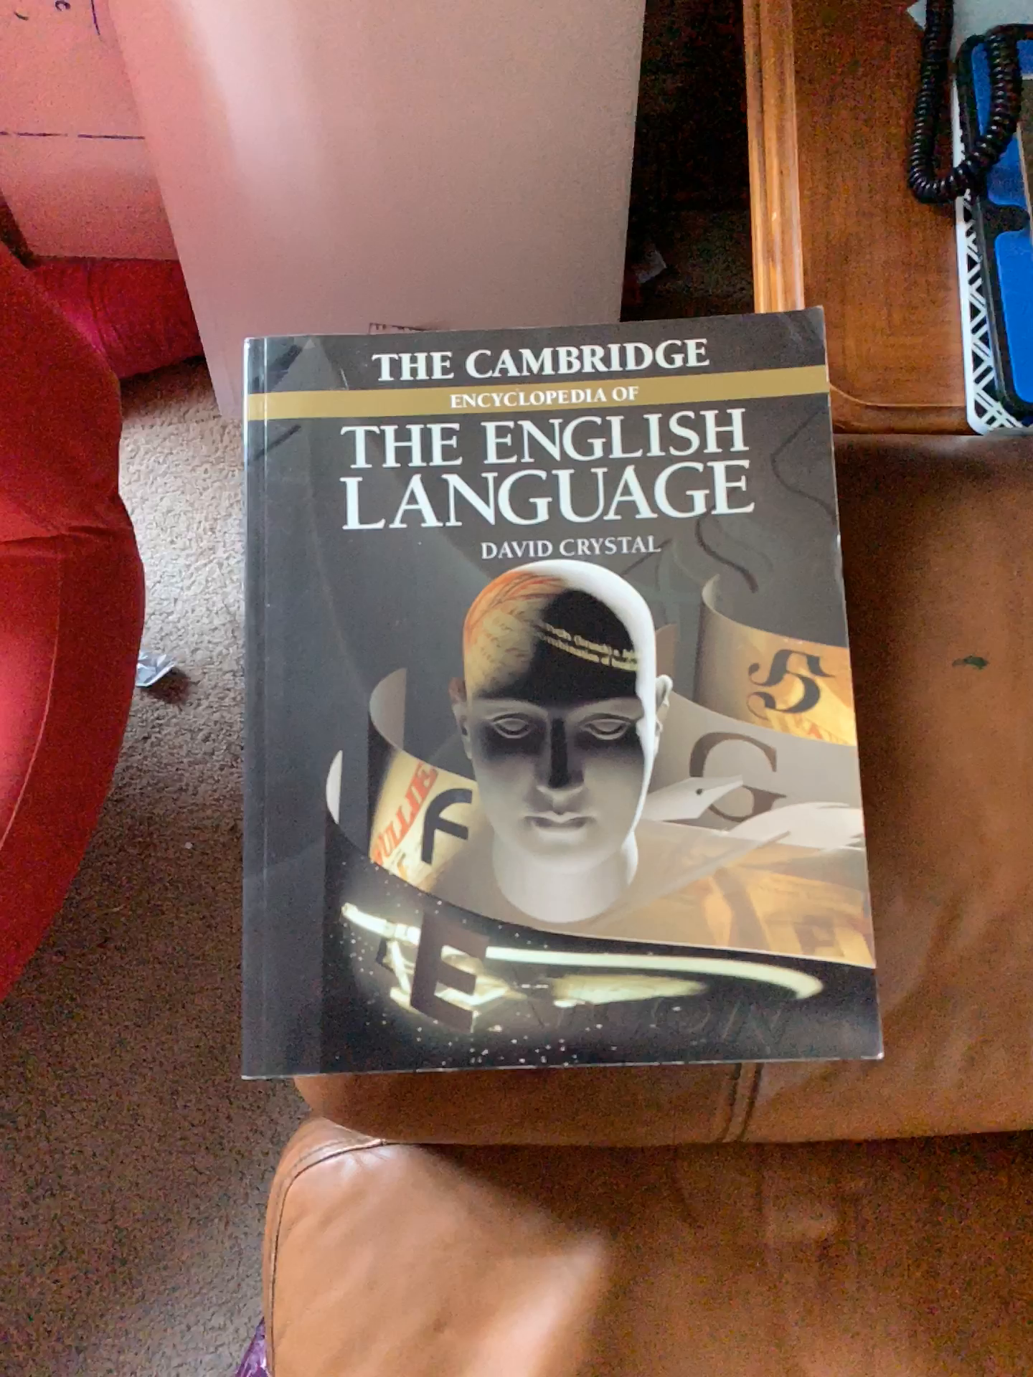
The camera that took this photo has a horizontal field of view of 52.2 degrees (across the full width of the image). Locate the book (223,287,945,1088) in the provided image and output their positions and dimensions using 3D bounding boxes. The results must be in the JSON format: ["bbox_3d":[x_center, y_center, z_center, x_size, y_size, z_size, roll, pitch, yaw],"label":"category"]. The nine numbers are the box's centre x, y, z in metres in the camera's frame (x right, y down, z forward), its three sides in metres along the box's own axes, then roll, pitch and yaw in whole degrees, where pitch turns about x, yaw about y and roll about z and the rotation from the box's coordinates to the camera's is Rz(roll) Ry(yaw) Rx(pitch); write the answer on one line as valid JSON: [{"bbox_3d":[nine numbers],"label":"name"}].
[{"bbox_3d":[0.018,-0.005,0.398,0.240,0.050,0.280,-2,80,0],"label":"book"}]
